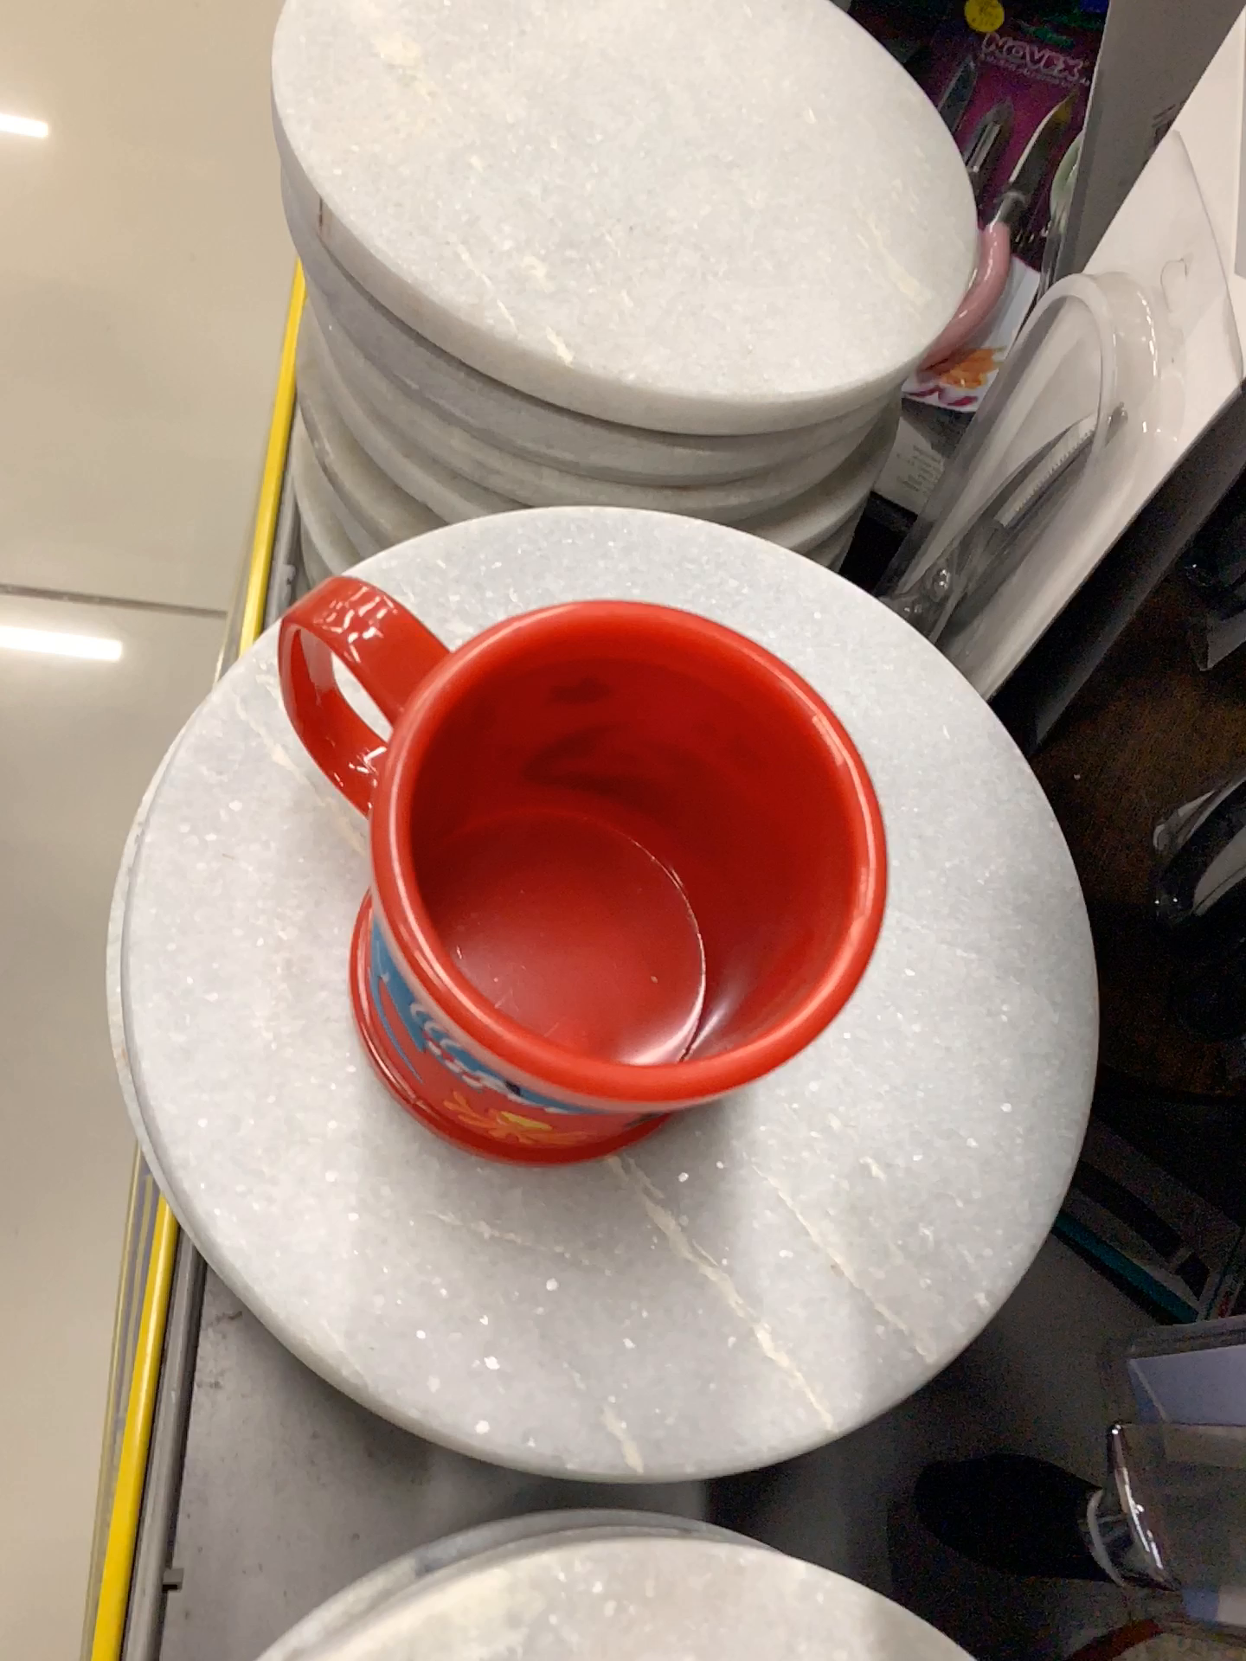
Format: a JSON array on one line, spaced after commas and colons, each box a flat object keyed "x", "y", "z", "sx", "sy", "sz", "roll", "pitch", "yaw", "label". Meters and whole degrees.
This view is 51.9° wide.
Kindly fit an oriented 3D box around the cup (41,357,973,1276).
[{"x": -0.025, "y": 0.004, "z": 0.238, "sx": 0.120, "sy": 0.100, "sz": 0.080, "roll": 42, "pitch": 63, "yaw": 7, "label": "cup"}]
